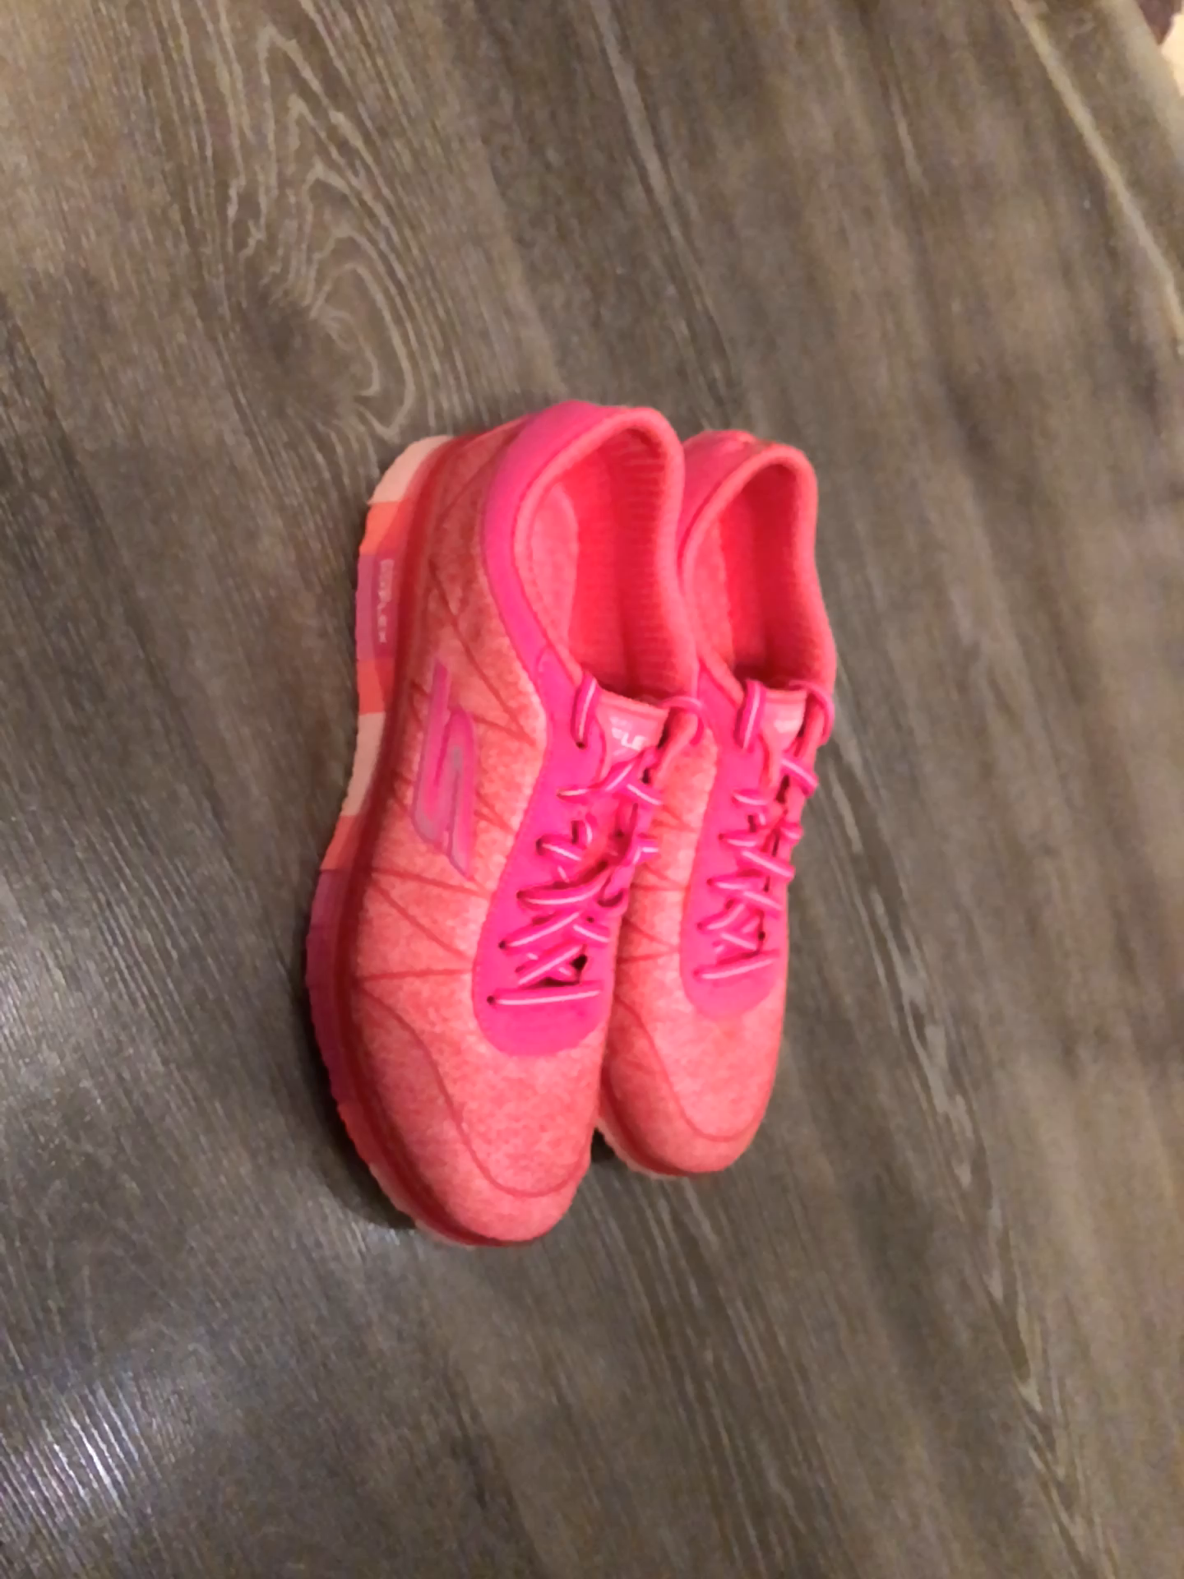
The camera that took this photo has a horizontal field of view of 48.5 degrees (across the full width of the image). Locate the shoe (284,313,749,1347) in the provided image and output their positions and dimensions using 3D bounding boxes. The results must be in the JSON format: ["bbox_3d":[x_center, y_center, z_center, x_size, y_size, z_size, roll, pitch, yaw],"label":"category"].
[{"bbox_3d":[-0.021,0.012,0.396,0.100,0.090,0.260,6,81,-41],"label":"shoe"}]

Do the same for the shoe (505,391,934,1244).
[{"bbox_3d":[0.044,0.009,0.466,0.101,0.090,0.260,-1,86,-42],"label":"shoe"}]
